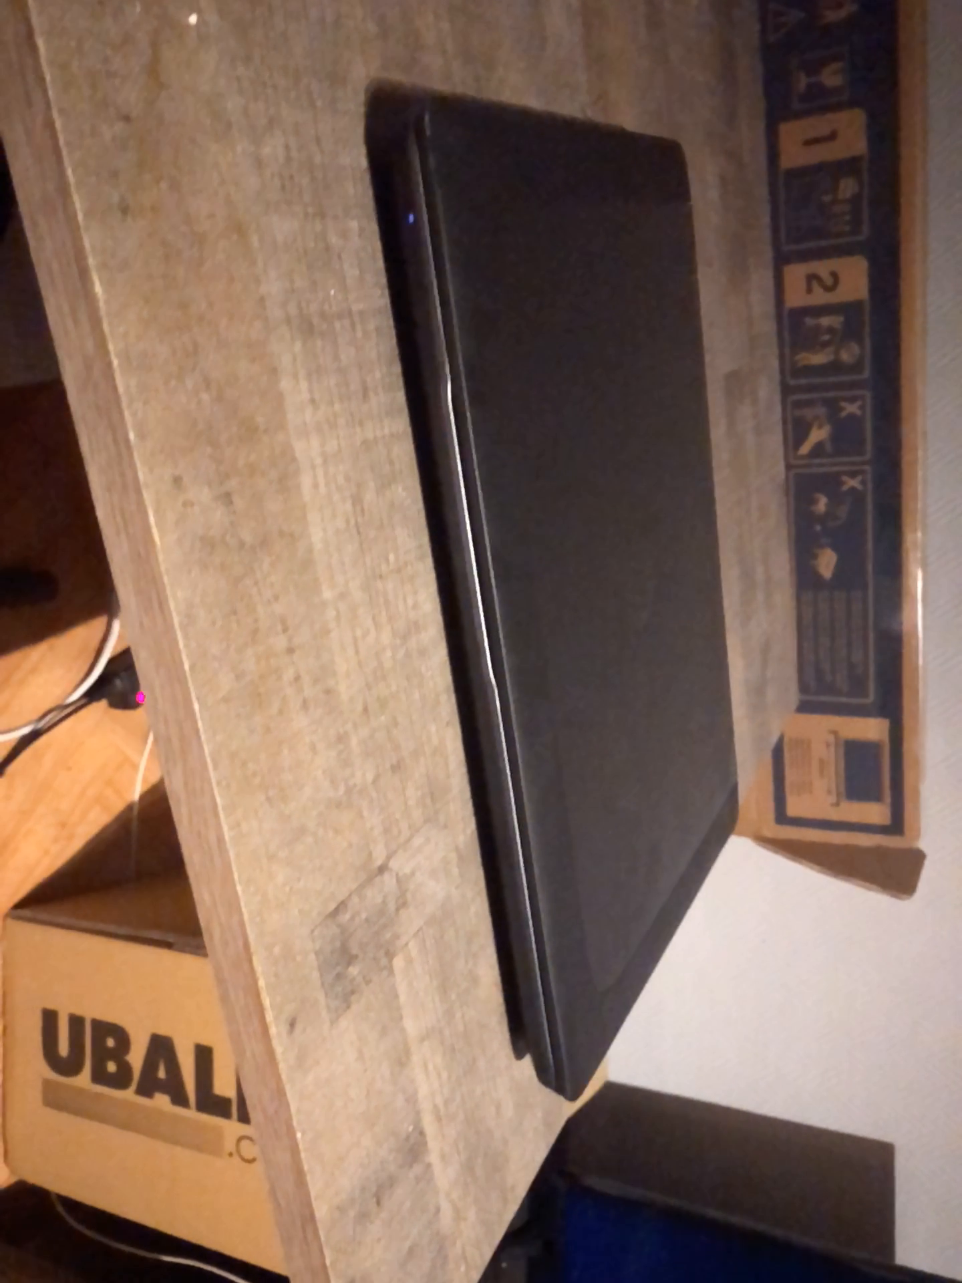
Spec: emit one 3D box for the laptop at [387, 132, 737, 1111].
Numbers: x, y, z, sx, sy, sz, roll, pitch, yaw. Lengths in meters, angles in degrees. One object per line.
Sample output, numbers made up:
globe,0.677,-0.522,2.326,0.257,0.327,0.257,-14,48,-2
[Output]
laptop,0.061,-0.021,0.480,0.242,0.017,0.365,-36,122,-55
